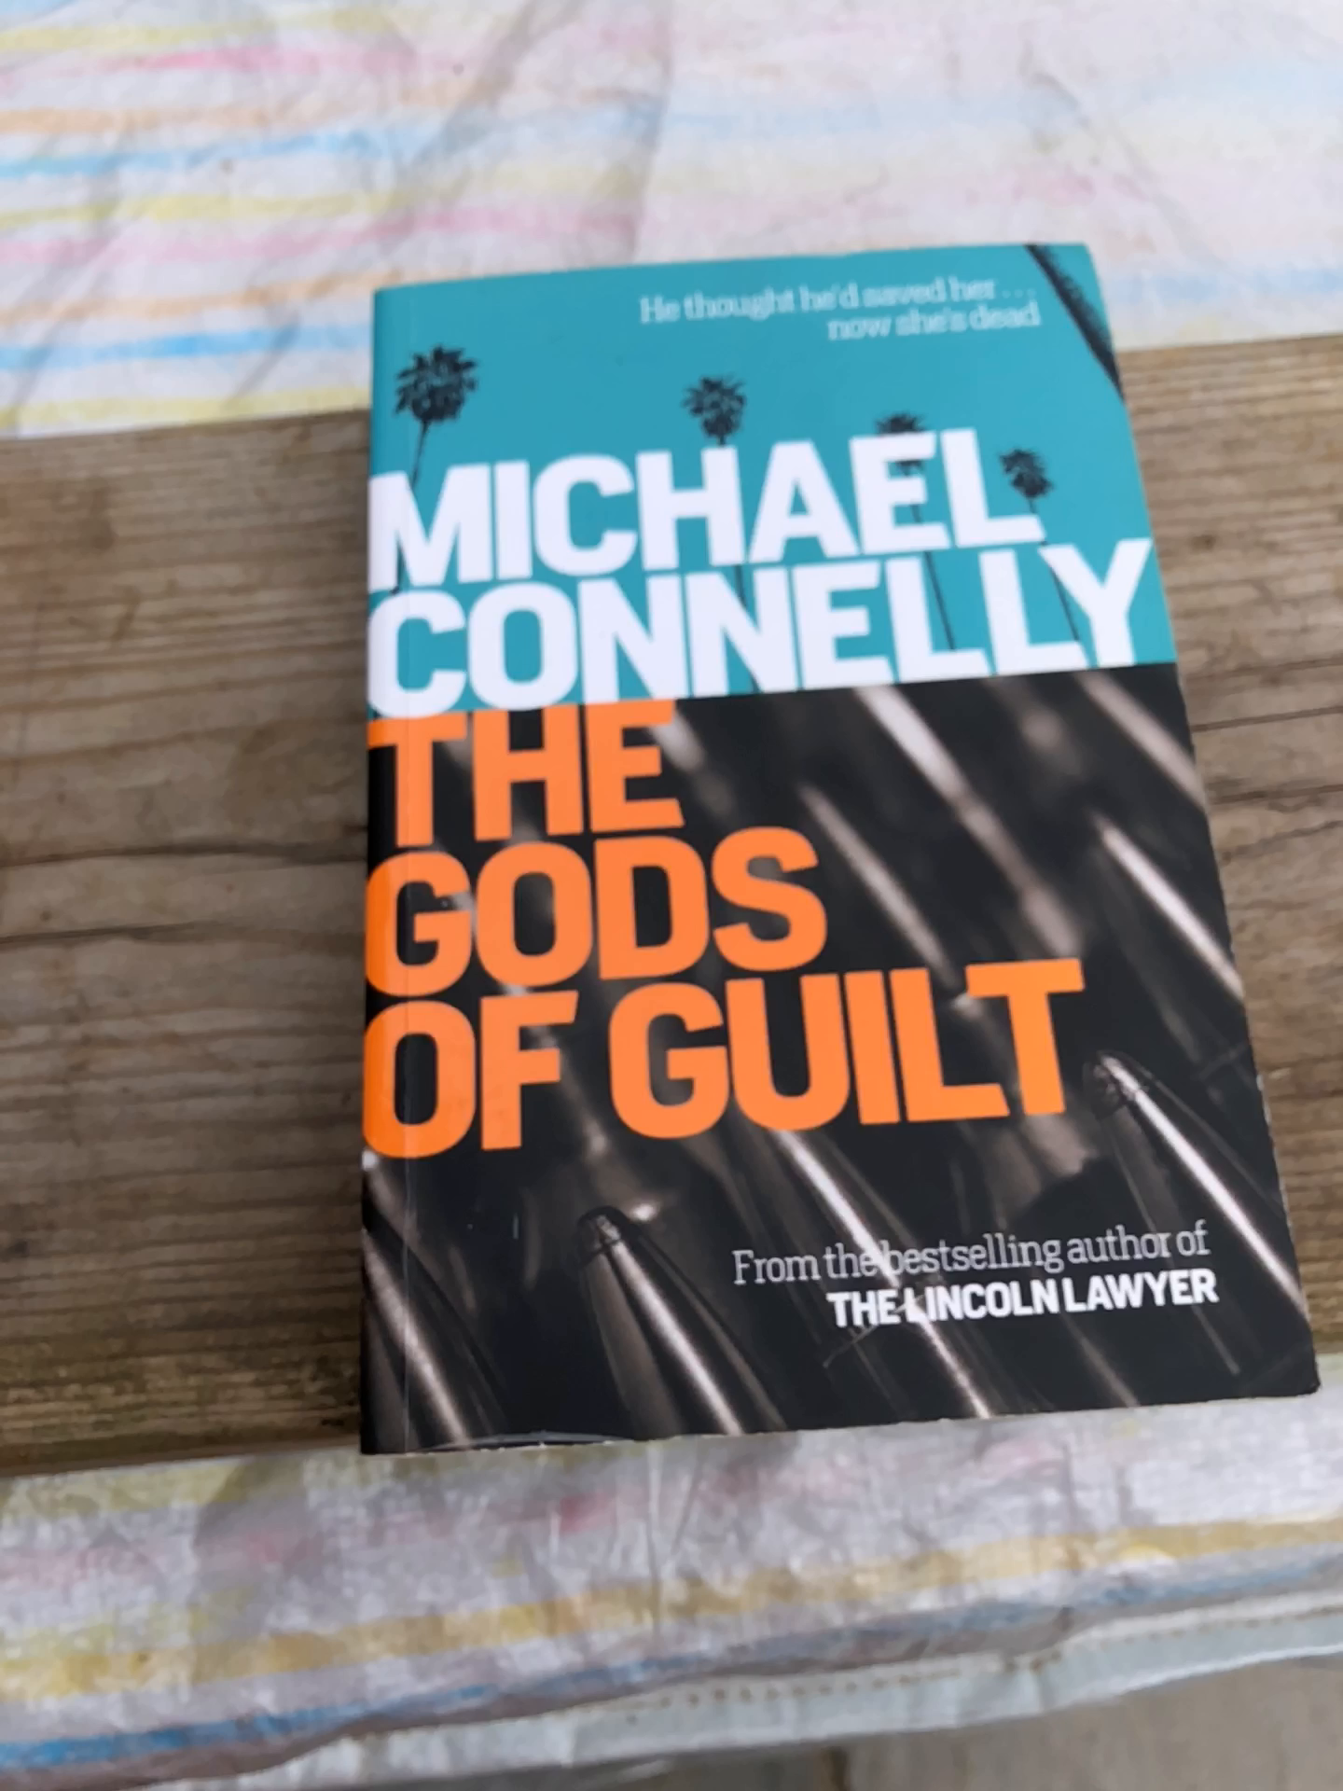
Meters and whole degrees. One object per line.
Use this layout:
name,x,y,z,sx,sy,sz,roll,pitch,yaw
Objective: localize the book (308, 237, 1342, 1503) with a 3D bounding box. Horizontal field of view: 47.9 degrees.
book,0.017,-0.013,0.250,0.140,0.040,0.201,-4,69,-1
